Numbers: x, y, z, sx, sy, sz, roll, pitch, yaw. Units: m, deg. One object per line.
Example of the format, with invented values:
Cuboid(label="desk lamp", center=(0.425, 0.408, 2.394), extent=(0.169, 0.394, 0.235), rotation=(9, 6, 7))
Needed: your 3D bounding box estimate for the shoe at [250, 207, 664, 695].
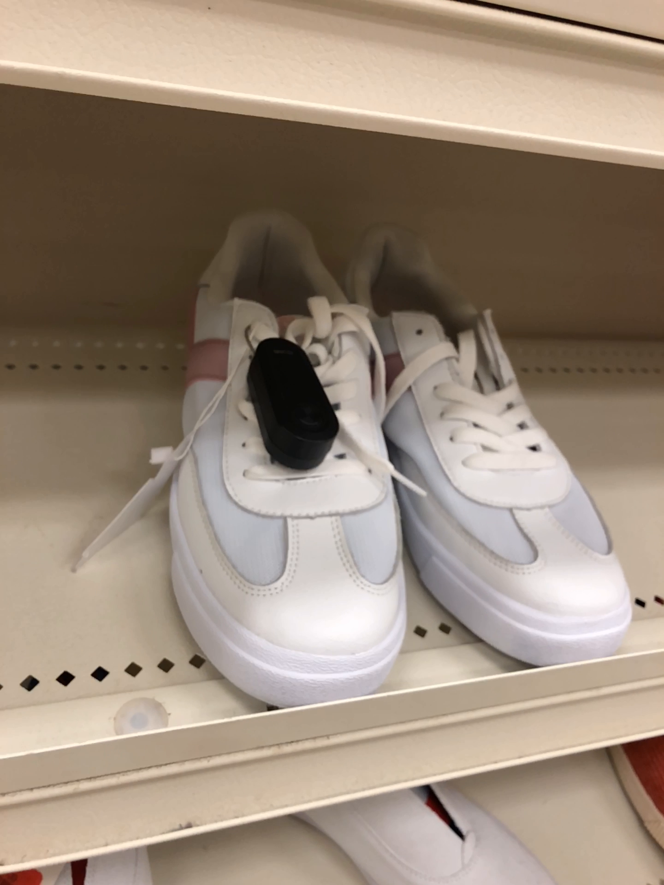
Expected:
Cuboid(label="shoe", center=(0.064, -0.044, 0.439), extent=(0.120, 0.119, 0.392), rotation=(-2, 25, -22))

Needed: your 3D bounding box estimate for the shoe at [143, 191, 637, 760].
Cuboid(label="shoe", center=(-0.028, -0.040, 0.389), extent=(0.120, 0.119, 0.392), rotation=(0, 25, -17))
